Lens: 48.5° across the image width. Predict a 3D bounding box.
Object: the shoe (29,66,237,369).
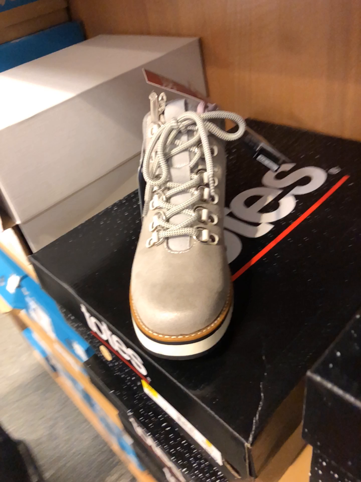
[{"bbox_3d":[-0.010,-0.033,0.334,0.099,0.134,0.228,-4,39,10],"label":"shoe"}]
